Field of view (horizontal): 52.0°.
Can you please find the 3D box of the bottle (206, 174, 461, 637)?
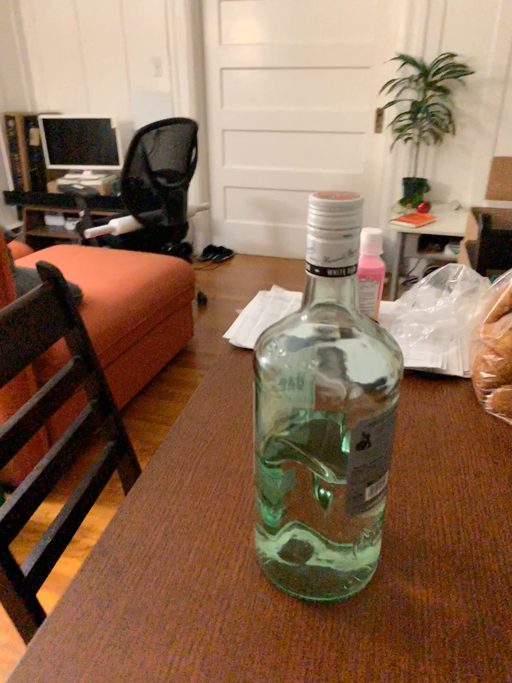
[{"bbox_3d":[0.052,0.050,0.422,0.120,0.328,0.120,0,26,0],"label":"bottle"}]
